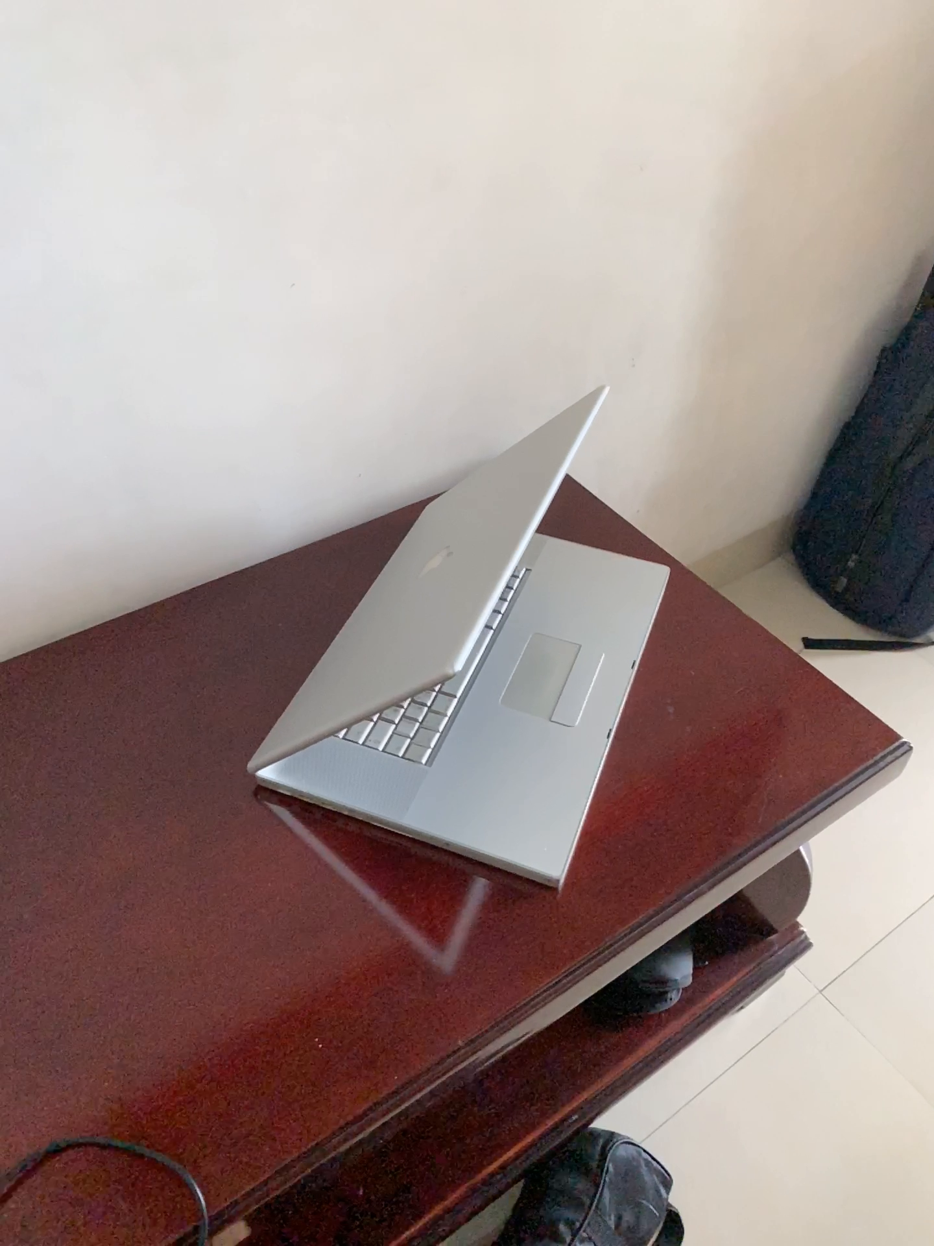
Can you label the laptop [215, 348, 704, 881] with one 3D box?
[{"bbox_3d":[0.020,-0.036,0.827,0.265,0.193,0.401,16,44,13],"label":"laptop"}]
